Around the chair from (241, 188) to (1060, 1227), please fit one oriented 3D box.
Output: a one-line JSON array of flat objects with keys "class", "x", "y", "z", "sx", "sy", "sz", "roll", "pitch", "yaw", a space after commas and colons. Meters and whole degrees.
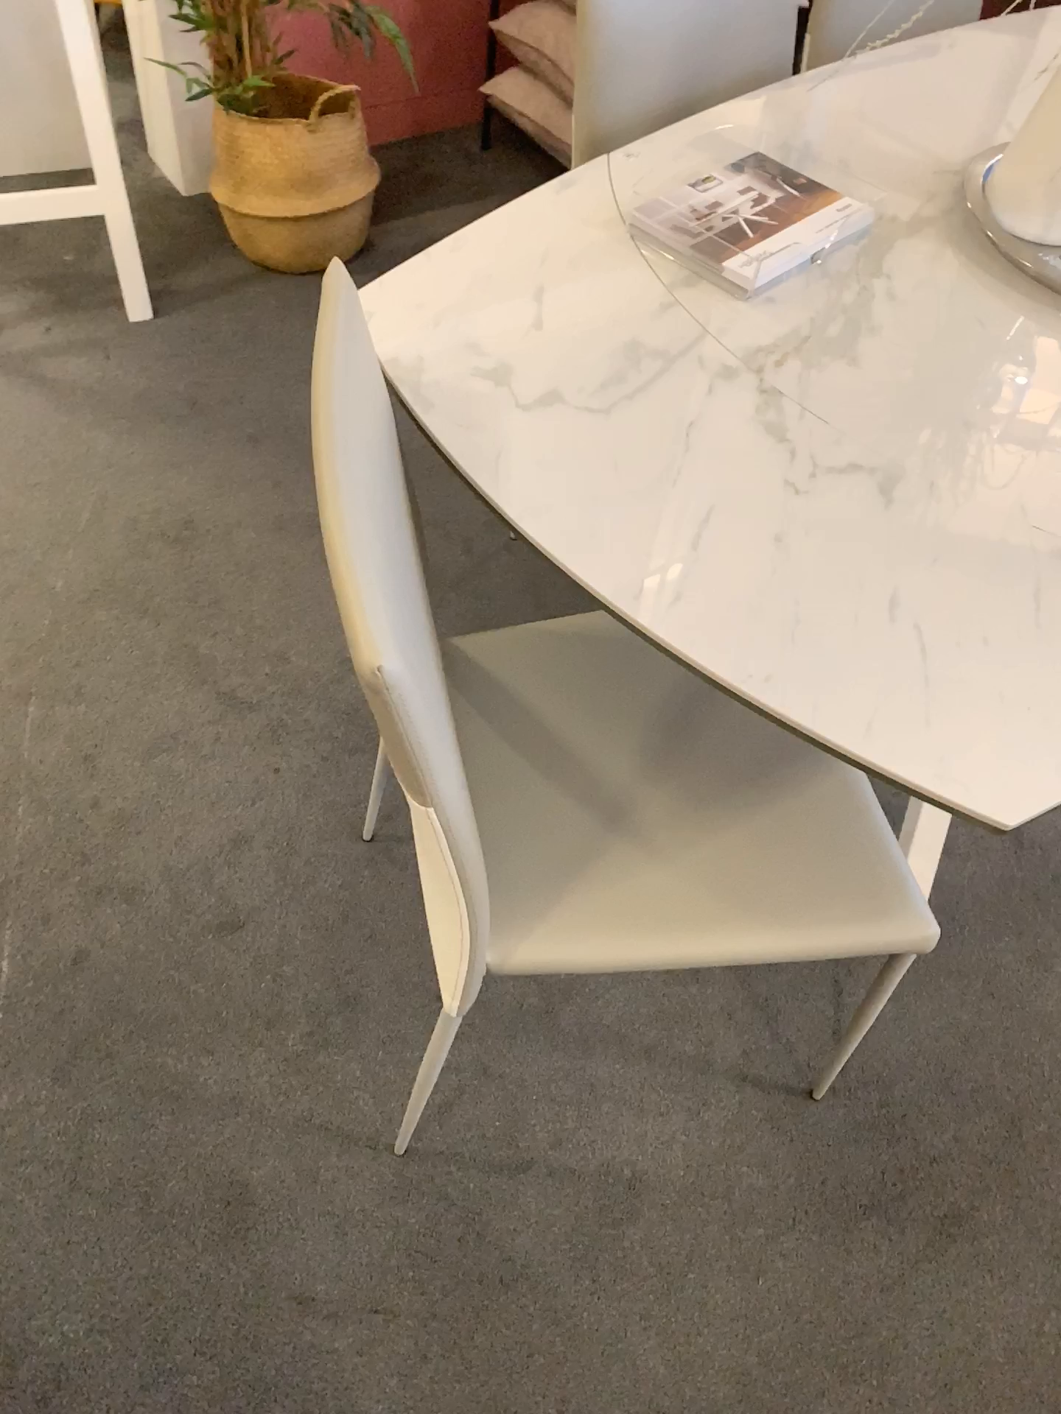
[{"class": "chair", "x": 0.082, "y": 0.053, "z": 1.019, "sx": 0.581, "sy": 0.824, "sz": 0.536, "roll": -6, "pitch": 53, "yaw": -11}]
